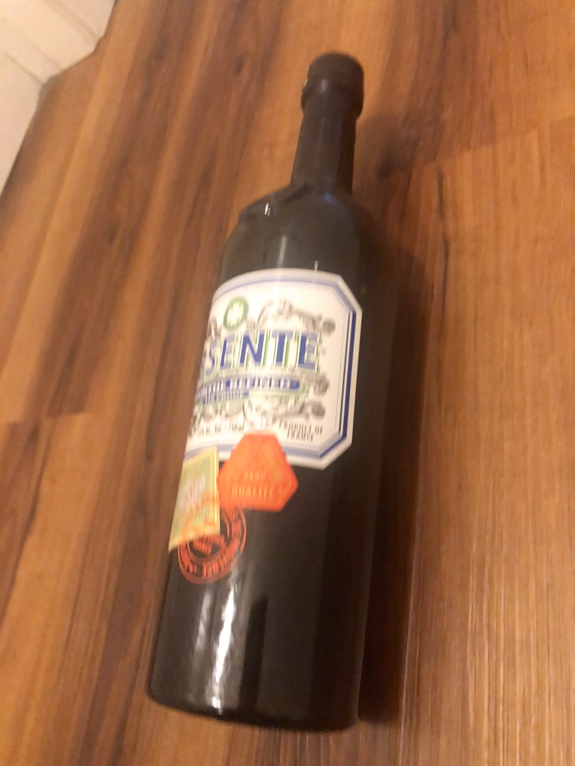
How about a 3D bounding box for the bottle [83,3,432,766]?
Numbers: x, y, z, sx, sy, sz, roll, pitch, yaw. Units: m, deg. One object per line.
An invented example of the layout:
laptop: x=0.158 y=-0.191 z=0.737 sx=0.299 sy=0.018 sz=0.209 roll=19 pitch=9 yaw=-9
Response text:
bottle: x=0.002 y=-0.014 z=0.282 sx=0.080 sy=0.070 sz=0.300 roll=-8 pitch=63 yaw=36
